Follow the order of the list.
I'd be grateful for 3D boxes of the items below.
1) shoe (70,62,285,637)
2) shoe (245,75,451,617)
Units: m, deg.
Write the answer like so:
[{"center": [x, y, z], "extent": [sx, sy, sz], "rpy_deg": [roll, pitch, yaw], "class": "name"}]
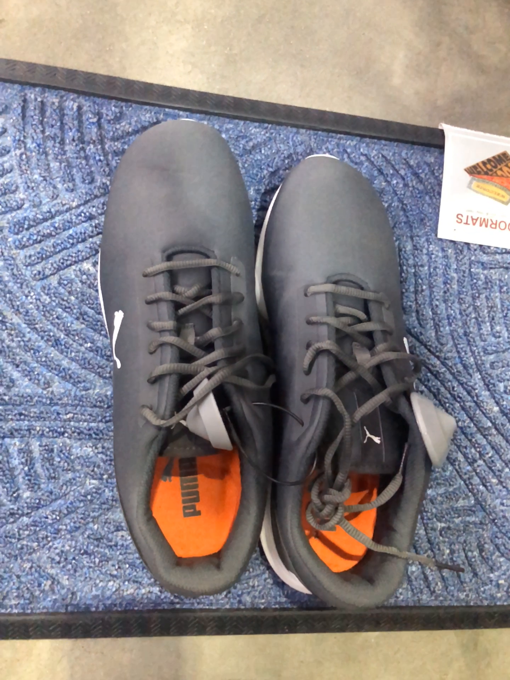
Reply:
[{"center": [-0.048, 0.003, 0.353], "extent": [0.110, 0.100, 0.300], "rpy_deg": [1, 85, -11], "class": "shoe"}, {"center": [0.054, 0.003, 0.370], "extent": [0.100, 0.100, 0.300], "rpy_deg": [2, 85, -11], "class": "shoe"}]
